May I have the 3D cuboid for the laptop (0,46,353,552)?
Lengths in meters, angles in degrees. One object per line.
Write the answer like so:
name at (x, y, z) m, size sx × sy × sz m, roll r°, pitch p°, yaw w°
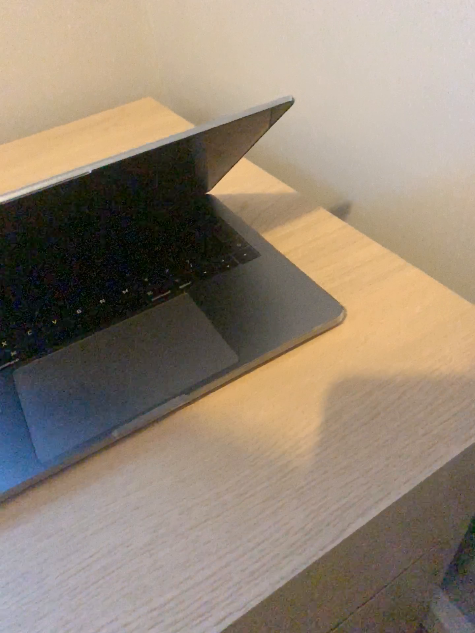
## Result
laptop at (-0.109, -0.047, 0.313) m, size 0.290 × 0.130 × 0.205 m, roll -26°, pitch 45°, yaw -17°
